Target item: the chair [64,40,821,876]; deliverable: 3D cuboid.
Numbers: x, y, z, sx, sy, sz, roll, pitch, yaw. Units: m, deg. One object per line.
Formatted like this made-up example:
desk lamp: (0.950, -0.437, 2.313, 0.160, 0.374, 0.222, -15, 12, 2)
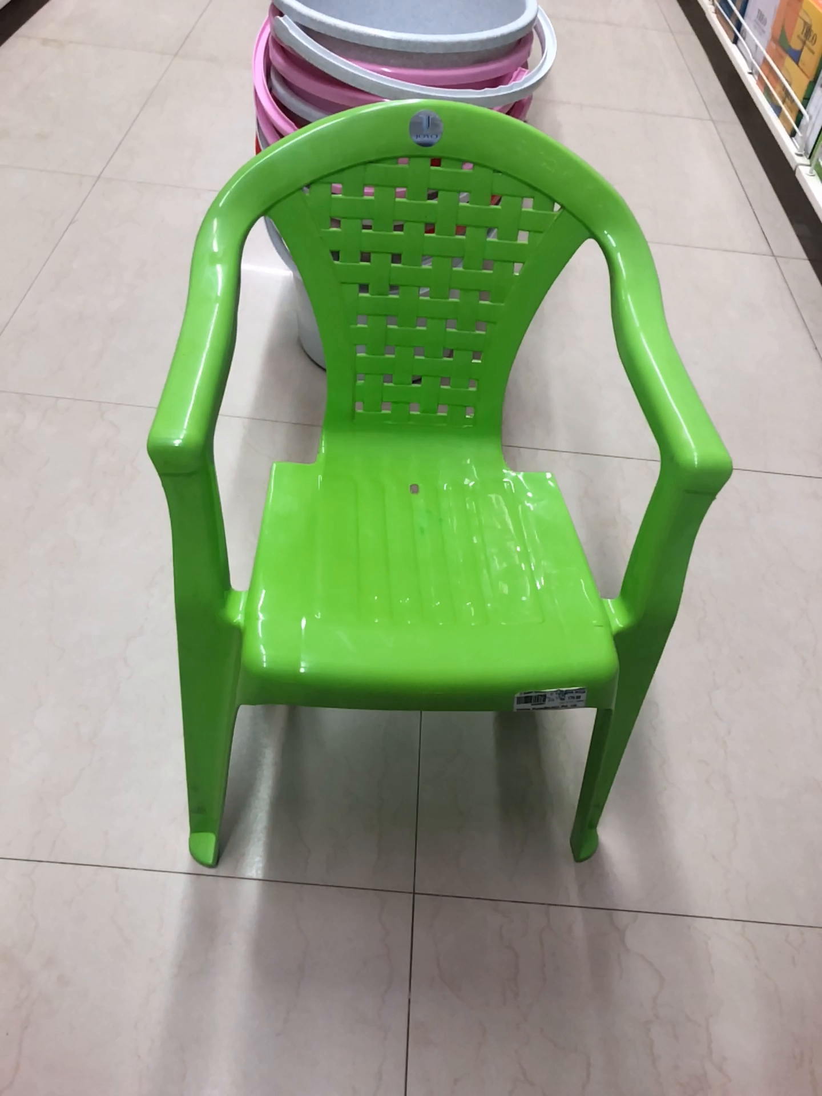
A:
chair: (0.014, -0.020, 0.661, 0.360, 0.517, 0.312, 2, 47, -6)
